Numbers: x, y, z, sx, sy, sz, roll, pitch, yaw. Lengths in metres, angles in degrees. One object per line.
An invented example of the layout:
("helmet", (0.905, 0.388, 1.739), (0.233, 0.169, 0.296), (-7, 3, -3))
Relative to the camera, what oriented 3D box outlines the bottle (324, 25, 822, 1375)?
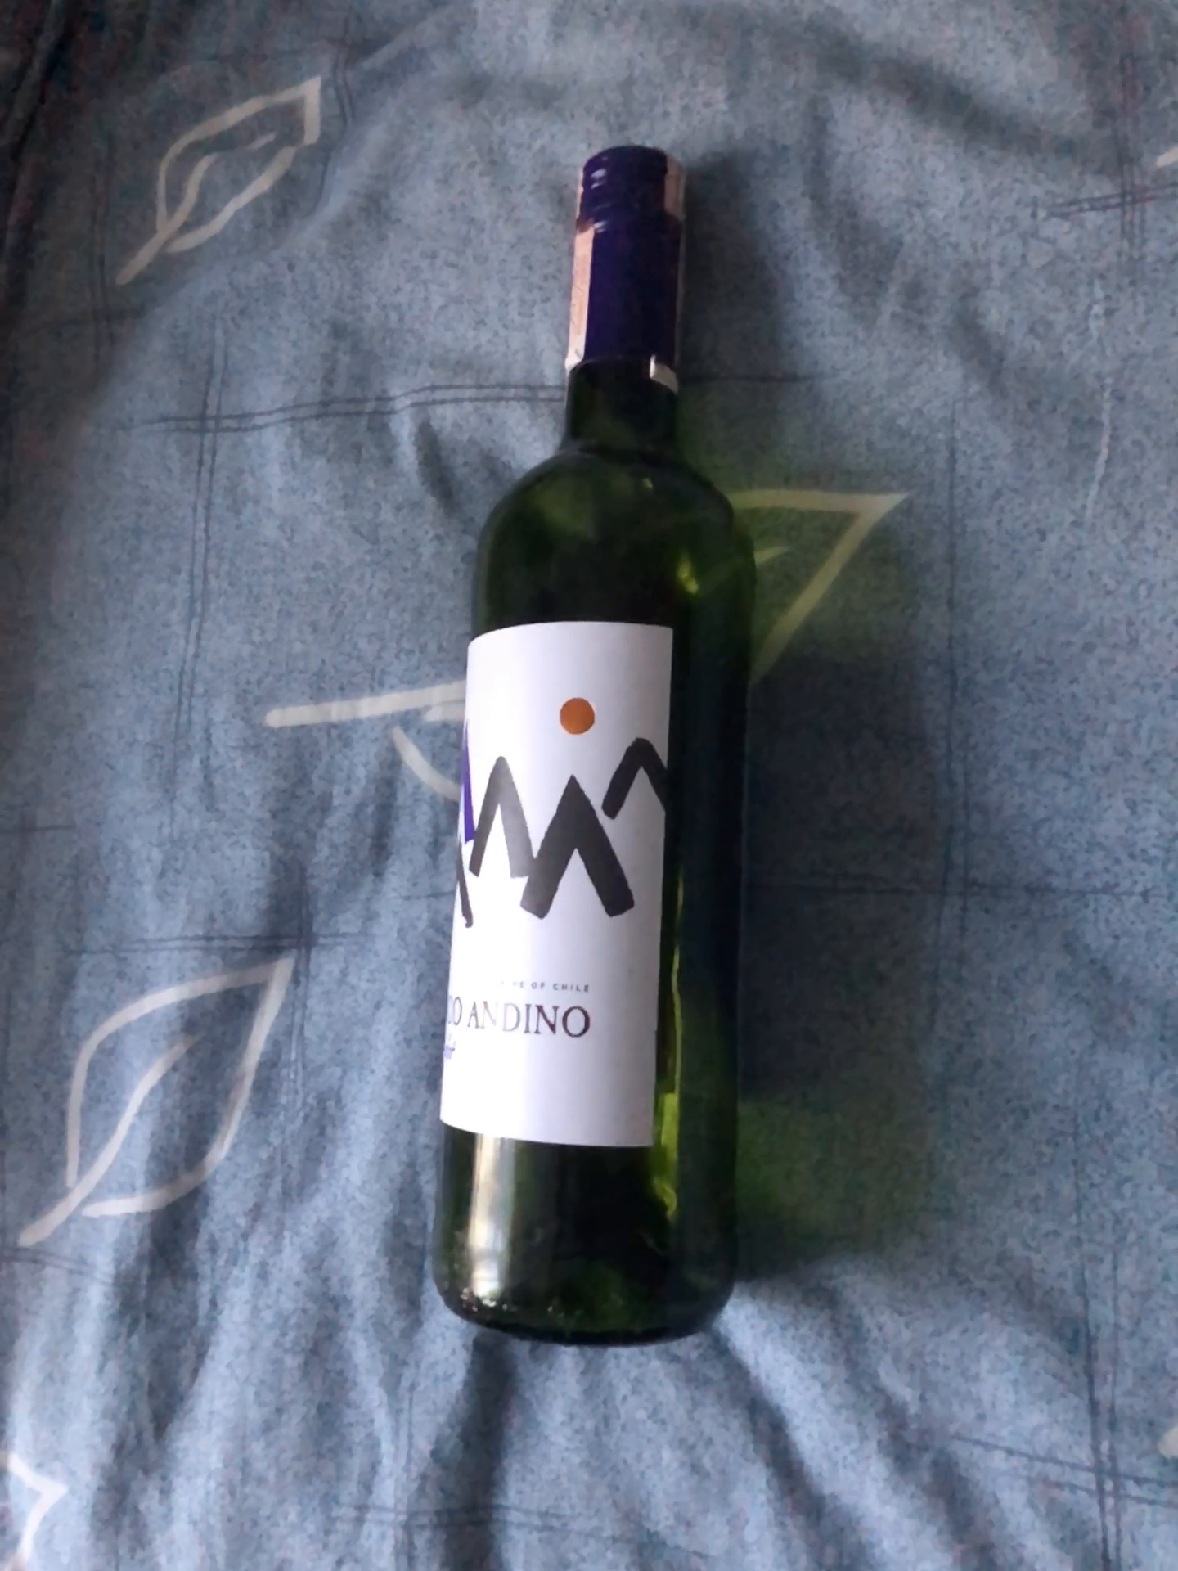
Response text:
("bottle", (0.000, -0.021, 0.331), (0.080, 0.080, 0.290), (-3, 80, 39))
